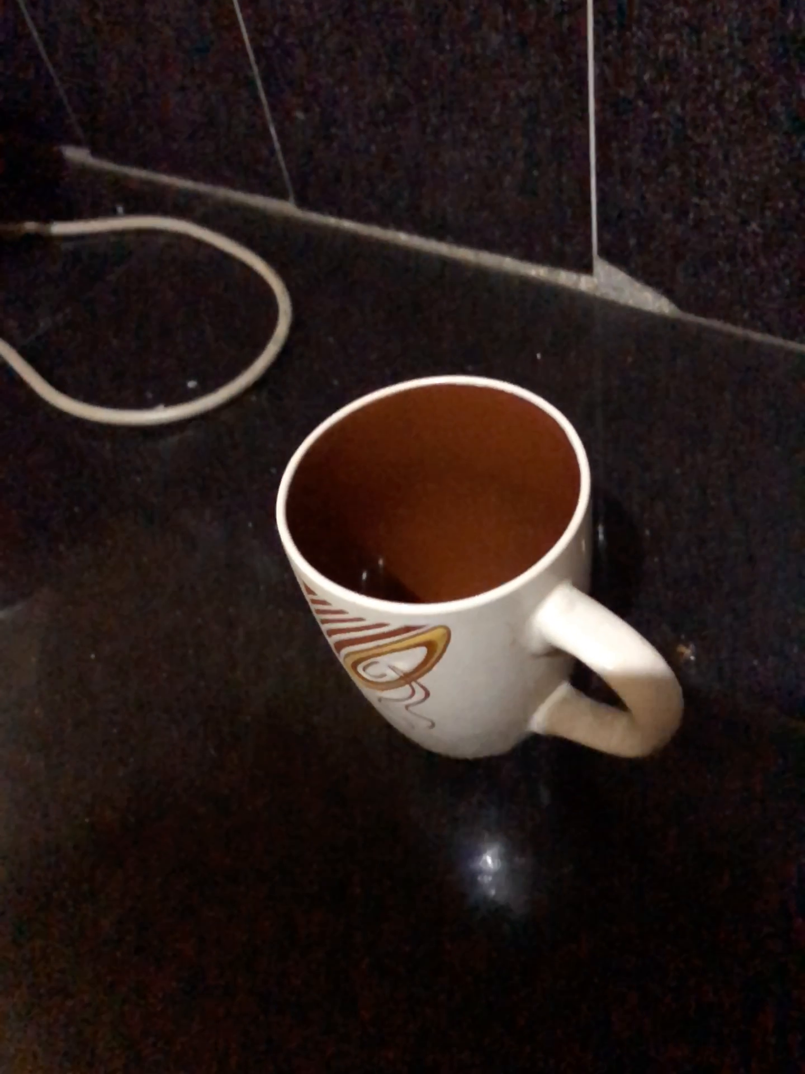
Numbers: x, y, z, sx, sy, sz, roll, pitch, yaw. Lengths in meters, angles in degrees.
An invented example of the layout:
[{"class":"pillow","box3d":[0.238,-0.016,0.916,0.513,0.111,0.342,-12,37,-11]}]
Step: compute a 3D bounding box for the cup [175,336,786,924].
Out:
[{"class":"cup","box3d":[0.024,0.021,0.252,0.120,0.089,0.090,24,60,29]}]
